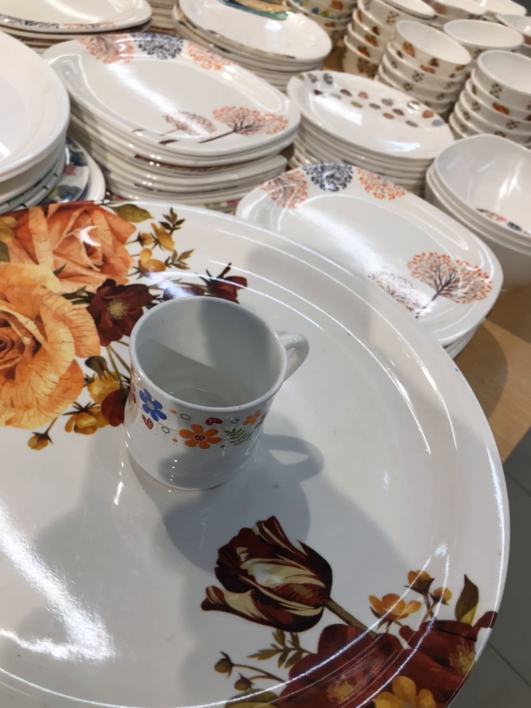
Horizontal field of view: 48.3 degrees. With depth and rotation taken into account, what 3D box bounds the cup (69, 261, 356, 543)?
[{"bbox_3d":[-0.028,0.019,0.281,0.101,0.079,0.070,-21,58,-36],"label":"cup"}]
